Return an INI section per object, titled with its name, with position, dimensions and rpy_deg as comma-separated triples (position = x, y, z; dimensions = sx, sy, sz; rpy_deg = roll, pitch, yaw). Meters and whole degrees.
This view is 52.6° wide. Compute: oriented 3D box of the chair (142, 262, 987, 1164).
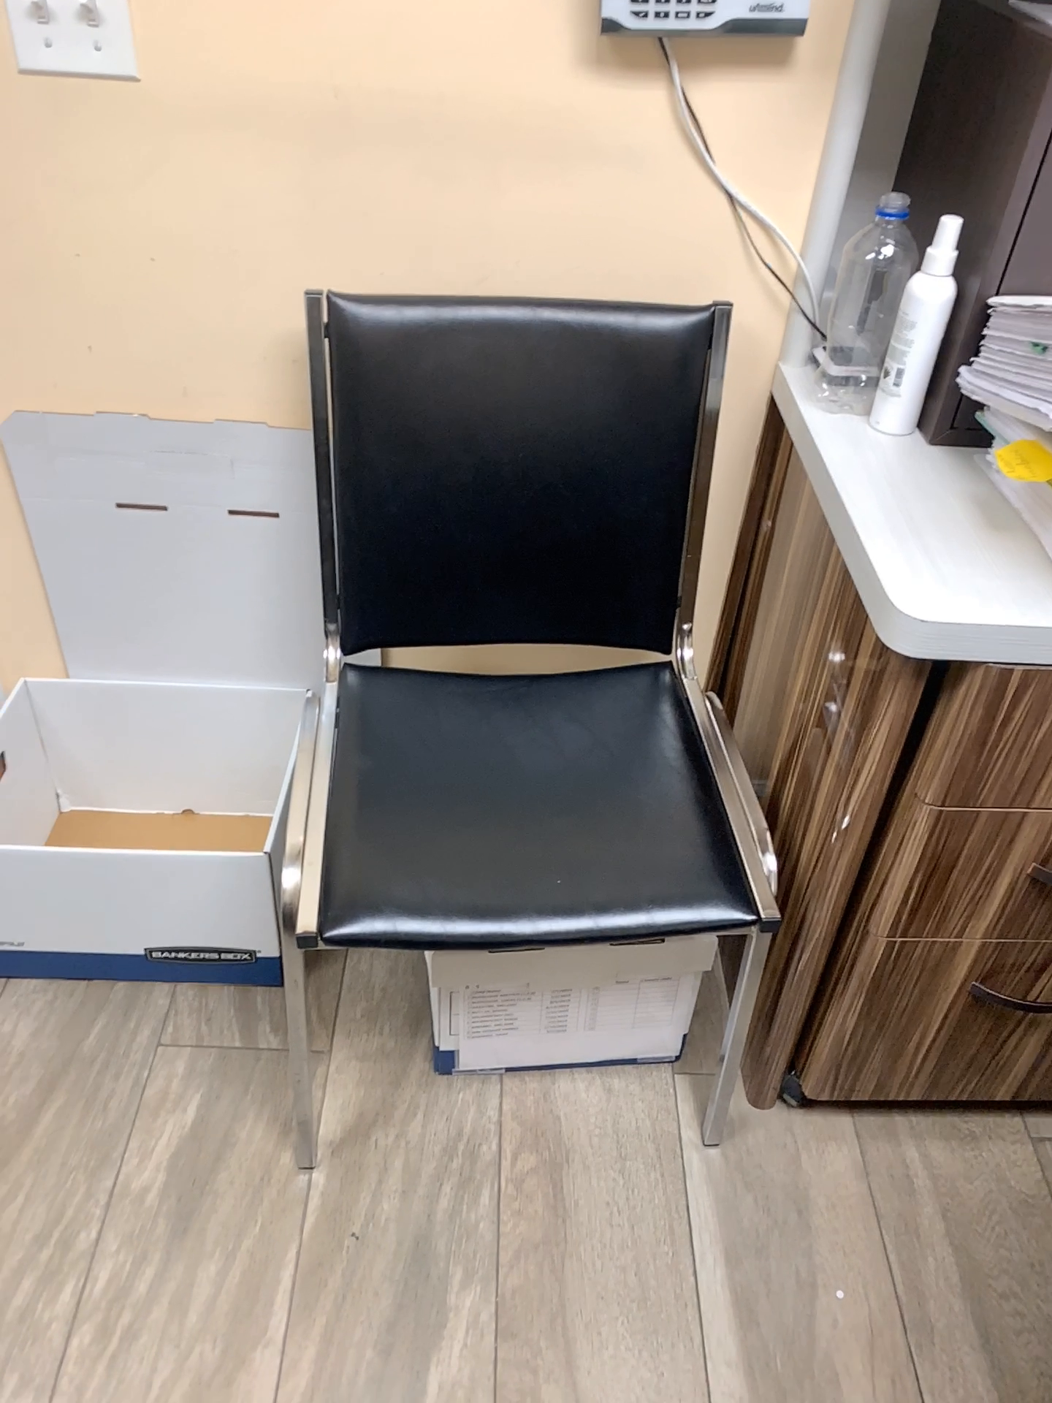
[chair]
position = -0.007, 0.041, 1.159
dimensions = 0.554, 0.812, 0.531
rpy_deg = 0, 42, -5
